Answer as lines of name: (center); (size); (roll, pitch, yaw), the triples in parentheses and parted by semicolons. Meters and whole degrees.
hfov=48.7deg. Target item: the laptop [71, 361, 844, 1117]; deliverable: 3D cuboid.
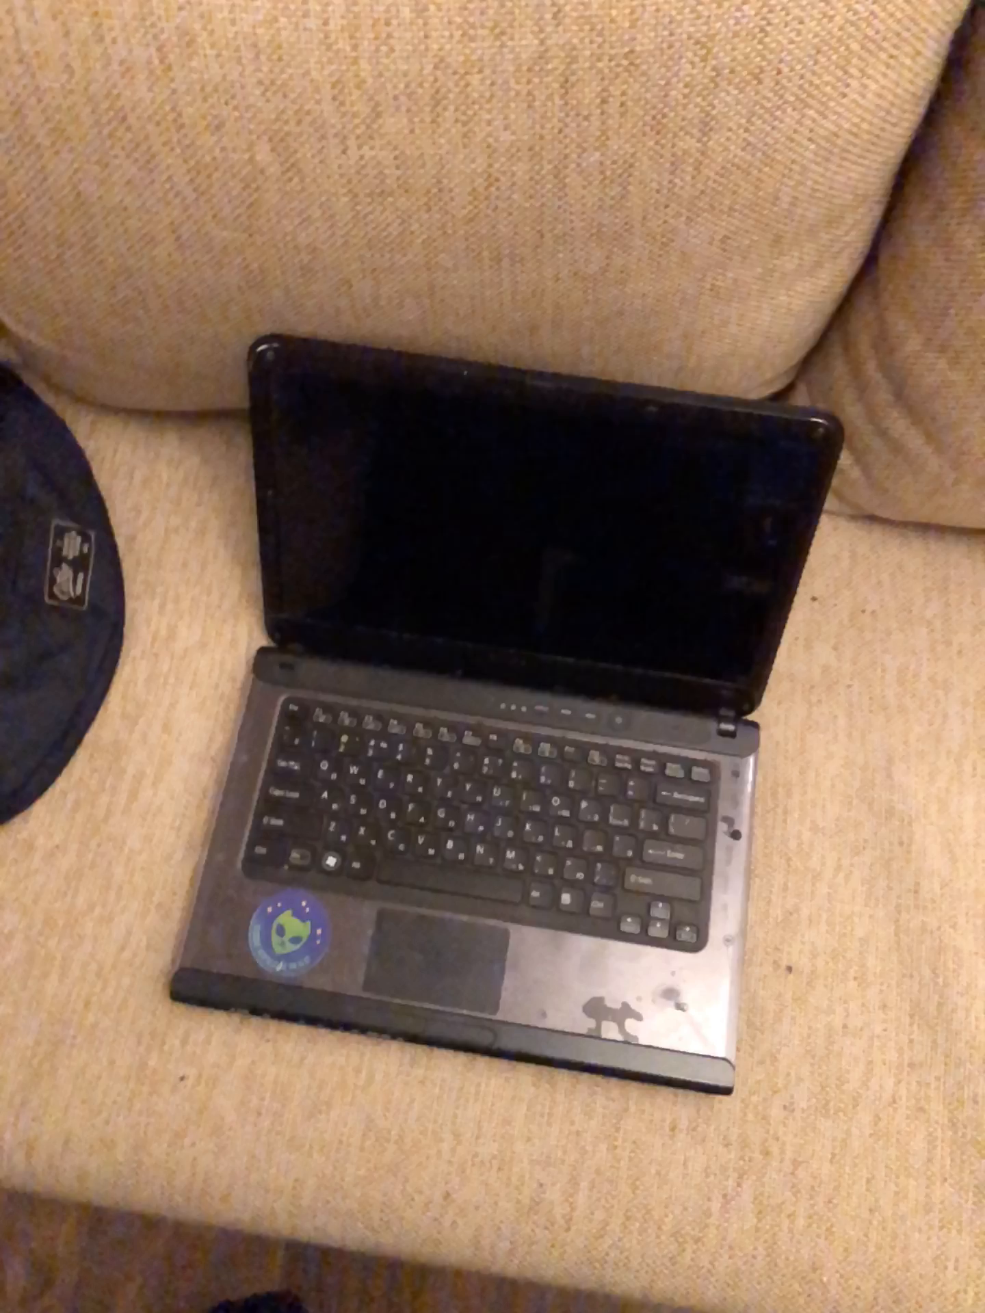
laptop: (0.000, 0.044, 0.633); (0.338, 0.175, 0.349); (8, 70, 3)
